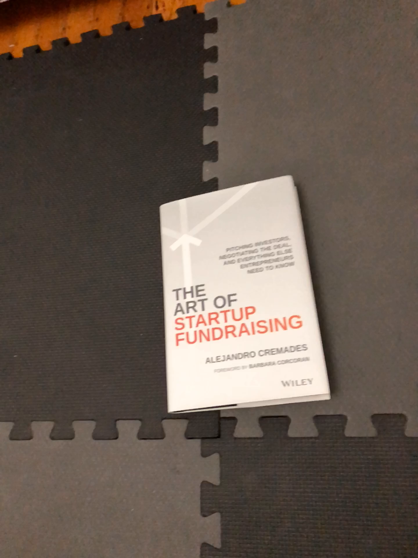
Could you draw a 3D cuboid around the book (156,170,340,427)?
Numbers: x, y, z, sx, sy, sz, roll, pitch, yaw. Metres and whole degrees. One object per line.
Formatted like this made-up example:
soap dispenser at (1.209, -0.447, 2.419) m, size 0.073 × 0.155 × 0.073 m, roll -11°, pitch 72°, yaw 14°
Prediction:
book at (0.030, 0.017, 0.483) m, size 0.170 × 0.030 × 0.251 m, roll -9°, pitch 68°, yaw 14°
